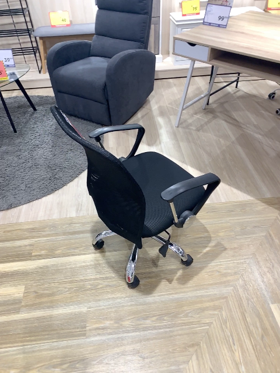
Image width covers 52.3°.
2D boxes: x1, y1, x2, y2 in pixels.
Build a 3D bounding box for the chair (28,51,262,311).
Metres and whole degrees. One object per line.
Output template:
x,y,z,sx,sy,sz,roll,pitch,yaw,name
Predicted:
0.004,-0.038,1.350,0.601,0.866,0.643,-28,49,-25,chair
